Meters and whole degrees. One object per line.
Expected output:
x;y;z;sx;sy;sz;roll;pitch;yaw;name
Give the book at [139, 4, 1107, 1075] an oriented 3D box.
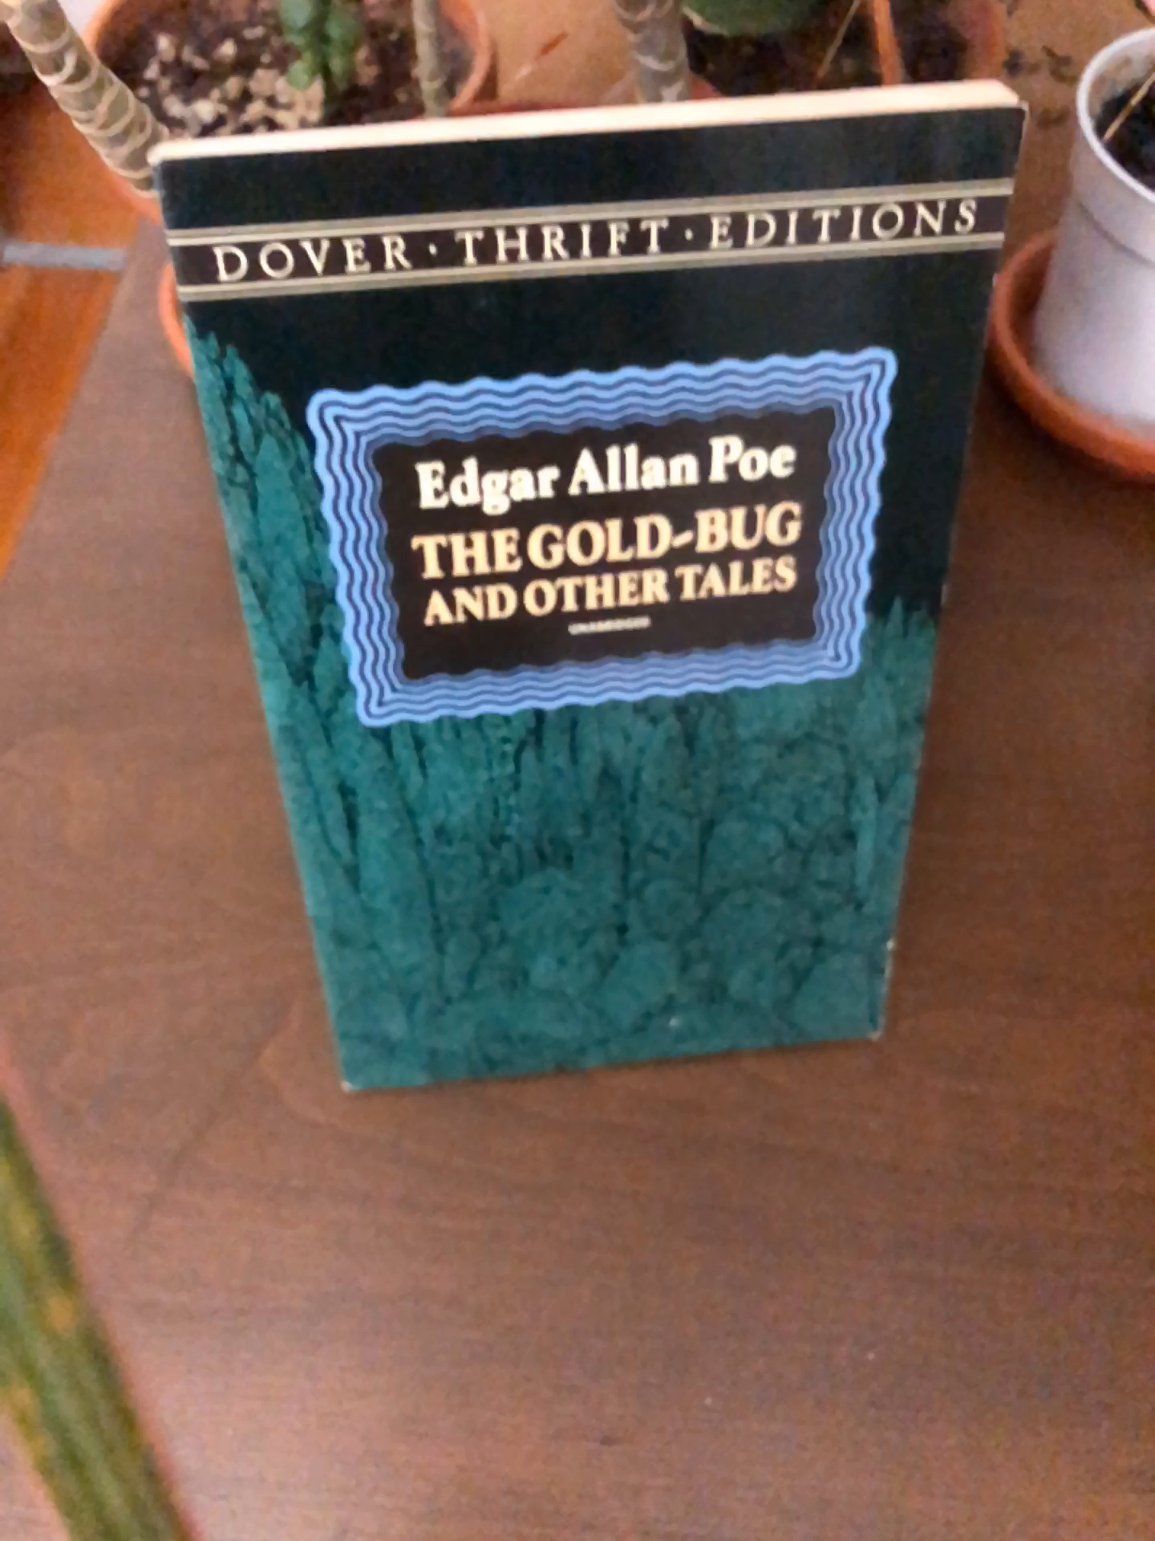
0.011;-0.026;0.257;0.140;0.209;0.020;-5;36;-4;book
